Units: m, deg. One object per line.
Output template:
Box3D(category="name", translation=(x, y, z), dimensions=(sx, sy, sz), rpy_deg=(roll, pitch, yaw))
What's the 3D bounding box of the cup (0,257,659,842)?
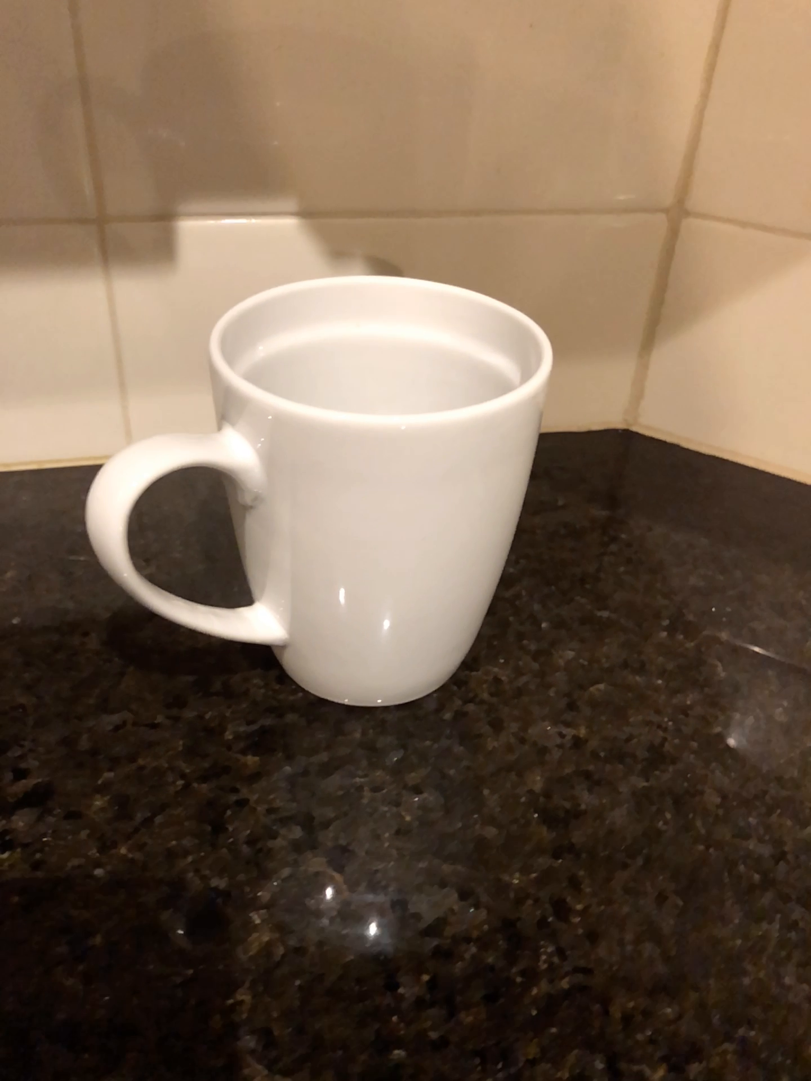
Box3D(category="cup", translation=(-0.020, -0.009, 0.244), dimensions=(0.130, 0.090, 0.090), rpy_deg=(-20, 41, -30))
